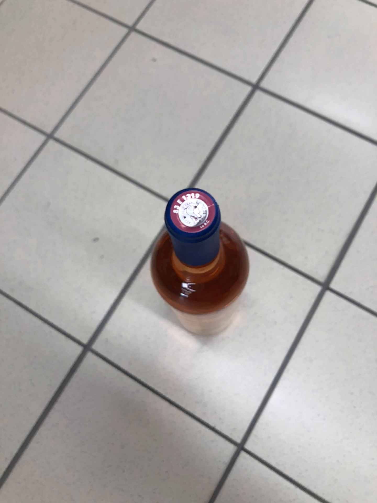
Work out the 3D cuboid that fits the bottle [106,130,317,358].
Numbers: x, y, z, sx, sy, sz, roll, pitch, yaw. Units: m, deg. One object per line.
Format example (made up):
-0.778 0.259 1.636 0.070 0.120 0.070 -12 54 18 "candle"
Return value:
0.018 0.027 0.355 0.080 0.290 0.080 -1 73 3 "bottle"
